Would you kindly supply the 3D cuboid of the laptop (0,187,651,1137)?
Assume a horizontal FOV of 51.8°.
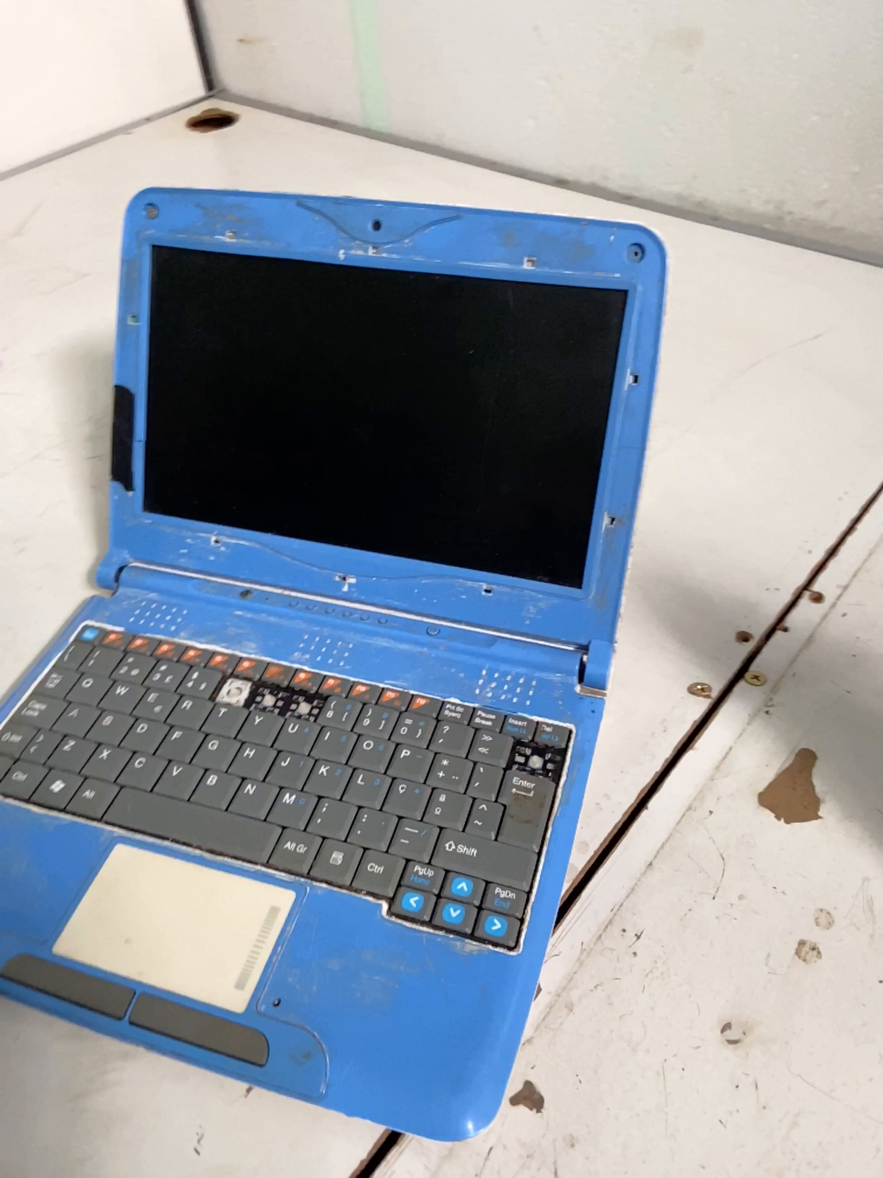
[{"bbox_3d":[-0.066,-0.010,0.346,0.240,0.149,0.288,10,48,14],"label":"laptop"}]
